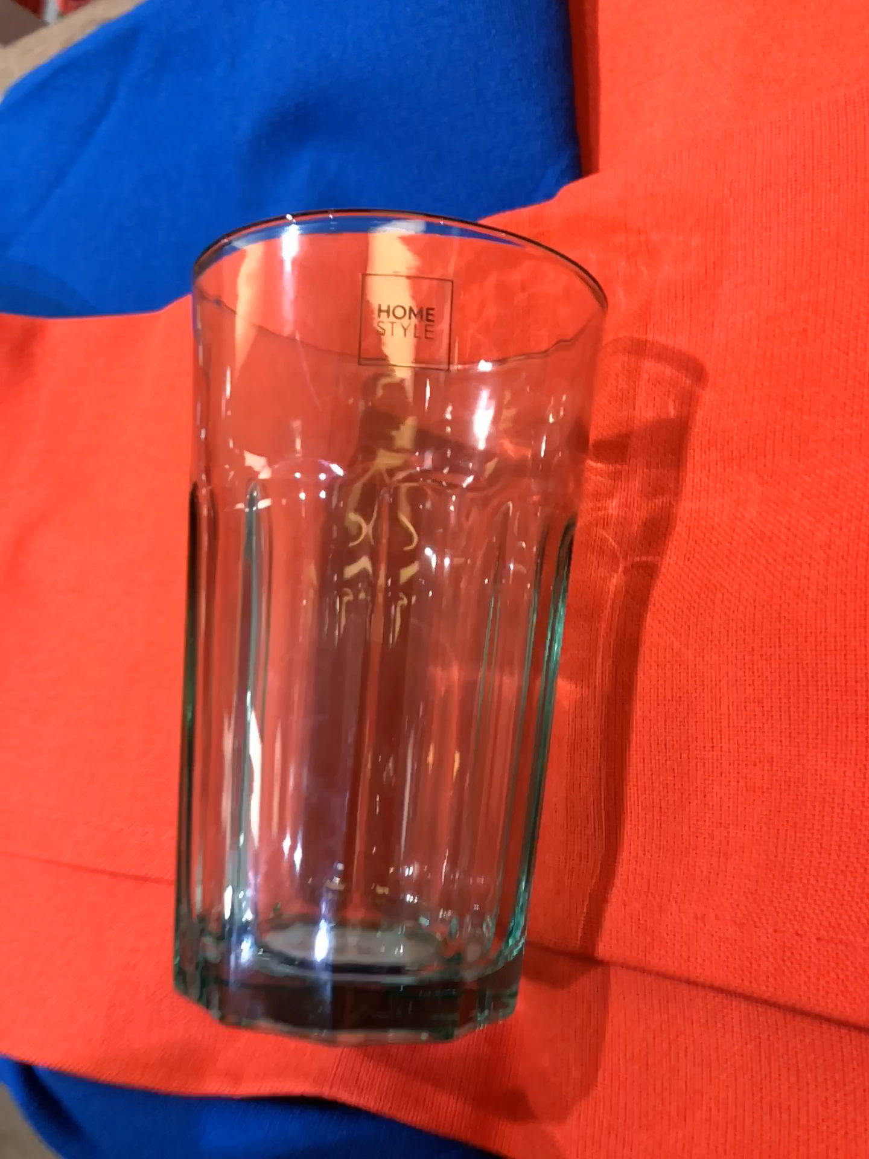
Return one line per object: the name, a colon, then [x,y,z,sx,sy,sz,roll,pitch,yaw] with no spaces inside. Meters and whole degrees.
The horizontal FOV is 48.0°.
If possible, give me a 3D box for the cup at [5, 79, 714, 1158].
cup: [-0.009,0.011,0.178,0.090,0.070,0.150,-1,79,36]
